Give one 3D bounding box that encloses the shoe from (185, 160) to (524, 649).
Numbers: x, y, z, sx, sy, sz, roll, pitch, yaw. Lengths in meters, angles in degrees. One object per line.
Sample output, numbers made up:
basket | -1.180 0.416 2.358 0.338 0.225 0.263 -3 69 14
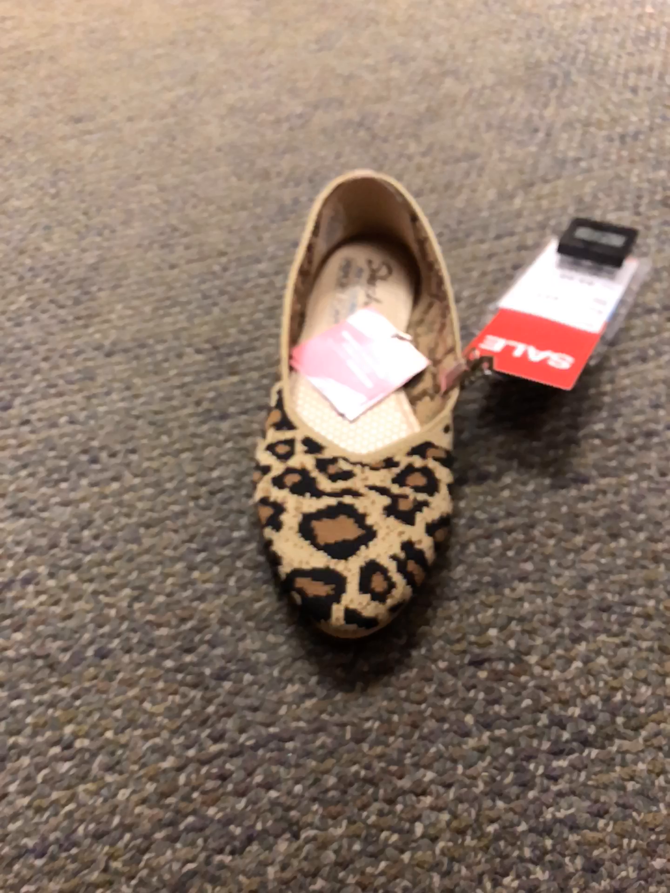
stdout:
shoe | 0.011 -0.034 0.327 0.104 0.056 0.233 -2 50 5
